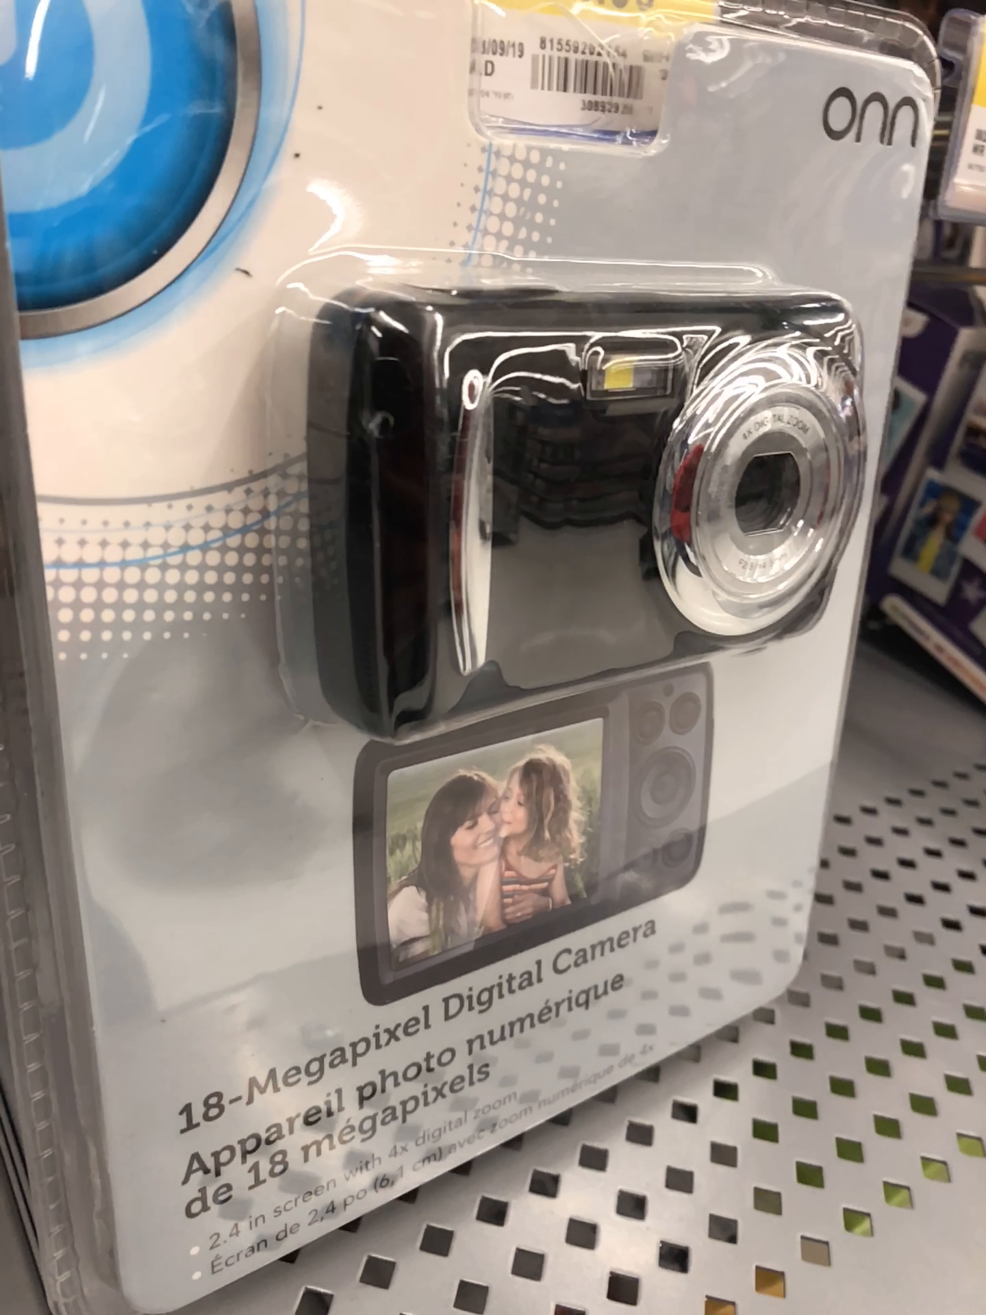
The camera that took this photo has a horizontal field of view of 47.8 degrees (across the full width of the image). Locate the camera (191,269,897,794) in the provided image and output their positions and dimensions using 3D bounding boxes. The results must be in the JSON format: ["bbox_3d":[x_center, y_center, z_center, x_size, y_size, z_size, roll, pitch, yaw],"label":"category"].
[{"bbox_3d":[0.011,-0.025,0.165,0.100,0.060,0.030,-12,26,-32],"label":"camera"}]
